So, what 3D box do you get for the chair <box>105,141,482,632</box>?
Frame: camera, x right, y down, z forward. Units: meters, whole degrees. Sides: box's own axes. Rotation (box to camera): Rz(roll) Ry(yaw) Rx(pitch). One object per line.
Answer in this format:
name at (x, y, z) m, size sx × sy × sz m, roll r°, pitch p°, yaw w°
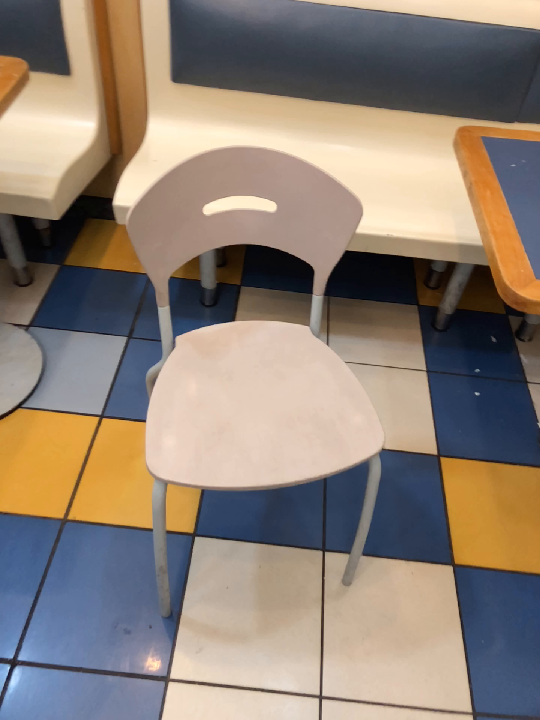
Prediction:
chair at (-0.036, 0.079, 1.122) m, size 0.440 × 0.774 × 0.513 m, roll -5°, pitch 47°, yaw -11°
